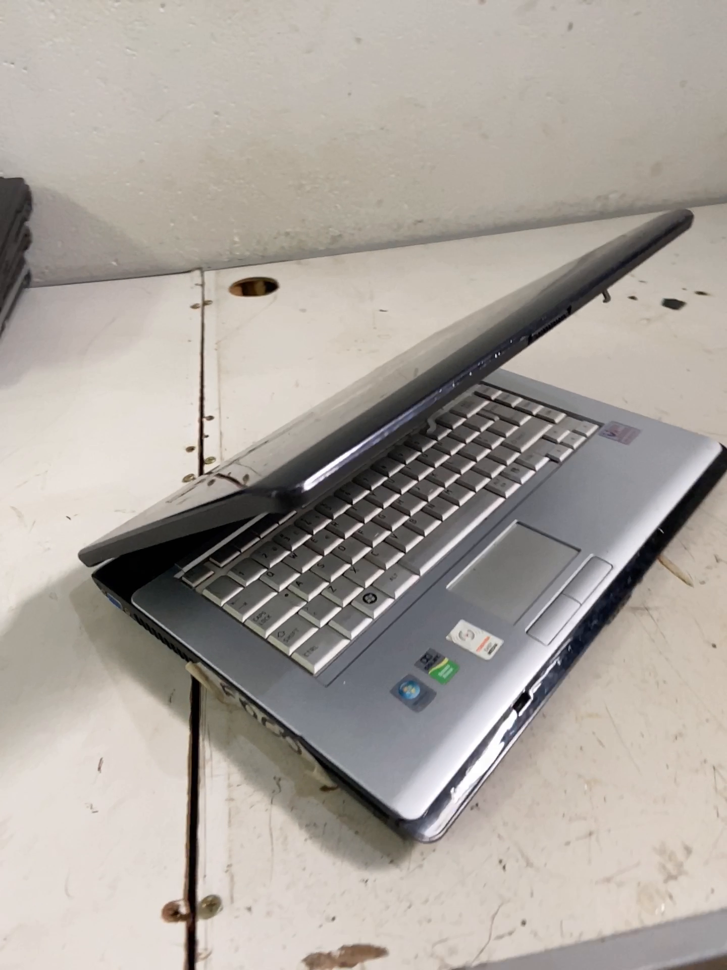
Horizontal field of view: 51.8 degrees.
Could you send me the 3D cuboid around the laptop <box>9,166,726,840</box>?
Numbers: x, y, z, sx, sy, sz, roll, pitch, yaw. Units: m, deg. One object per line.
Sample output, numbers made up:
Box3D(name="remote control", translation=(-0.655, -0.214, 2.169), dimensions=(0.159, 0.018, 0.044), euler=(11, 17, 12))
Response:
Box3D(name="laptop", translation=(0.041, -0.047, 0.435), dimensions=(0.258, 0.152, 0.347), euler=(26, 46, 33))
